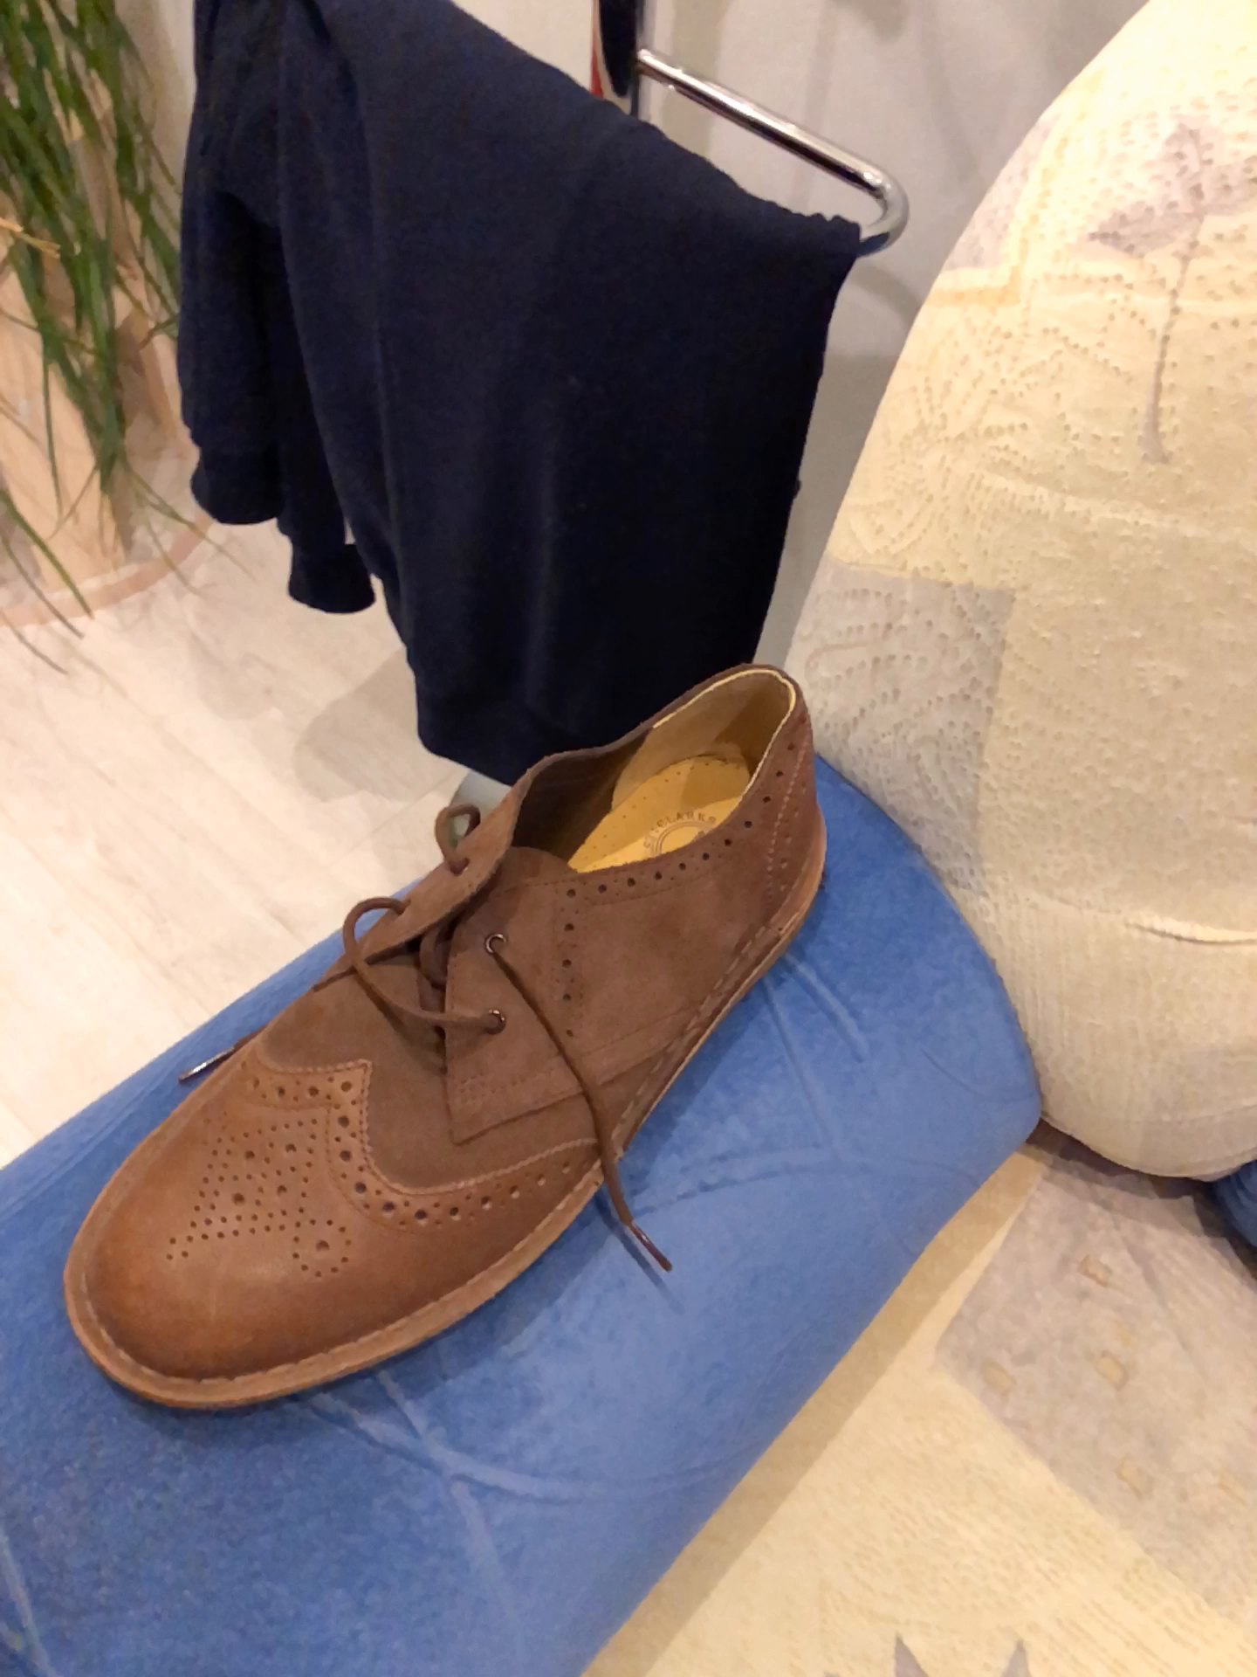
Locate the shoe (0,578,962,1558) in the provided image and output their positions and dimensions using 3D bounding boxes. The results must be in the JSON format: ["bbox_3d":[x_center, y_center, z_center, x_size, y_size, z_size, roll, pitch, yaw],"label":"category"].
[{"bbox_3d":[-0.037,0.052,0.445,0.113,0.089,0.314,36,59,23],"label":"shoe"}]
